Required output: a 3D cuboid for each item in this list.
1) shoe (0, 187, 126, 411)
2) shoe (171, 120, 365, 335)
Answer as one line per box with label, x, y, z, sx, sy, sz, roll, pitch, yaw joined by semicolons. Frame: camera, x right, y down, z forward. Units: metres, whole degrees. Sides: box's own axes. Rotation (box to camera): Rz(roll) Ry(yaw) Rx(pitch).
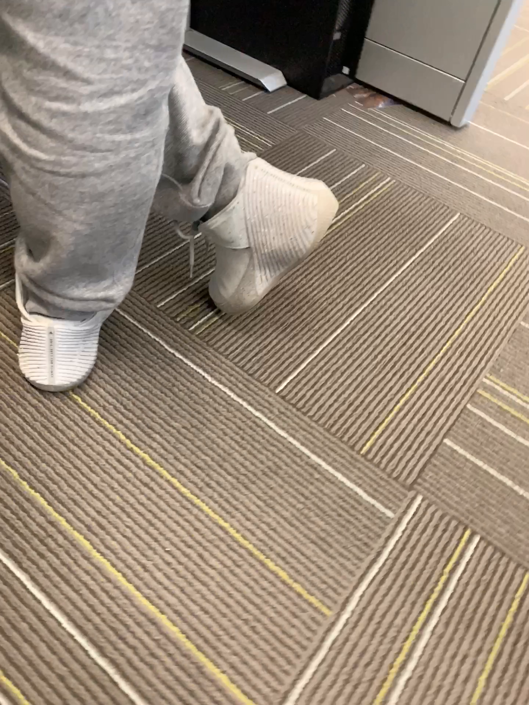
shoe;-0.278;-0.080;0.751;0.130;0.149;0.281;2;50;-8
shoe;-0.010;-0.145;0.719;0.120;0.280;0.120;29;63;-14
